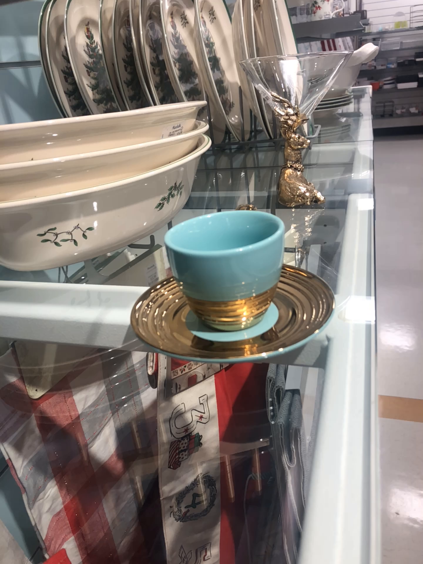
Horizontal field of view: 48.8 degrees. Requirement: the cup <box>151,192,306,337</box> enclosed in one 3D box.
[{"bbox_3d":[0.016,-0.014,0.264,0.070,0.050,0.084,0,26,14],"label":"cup"}]
